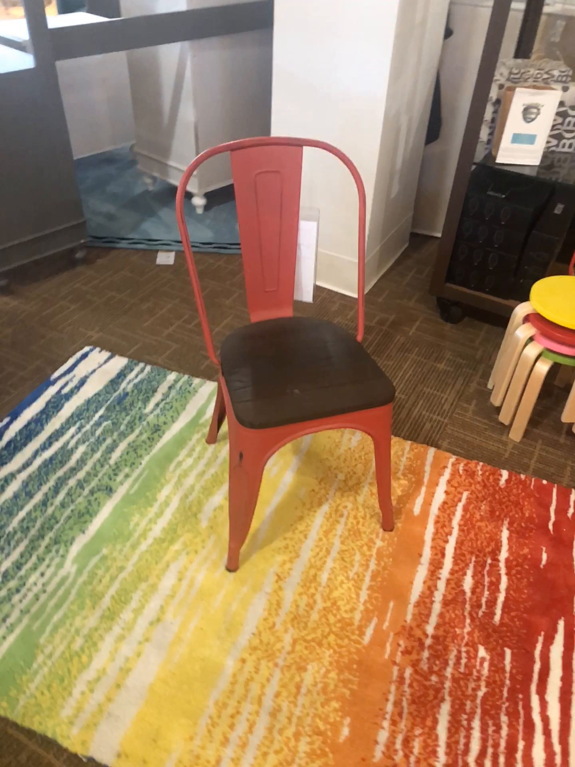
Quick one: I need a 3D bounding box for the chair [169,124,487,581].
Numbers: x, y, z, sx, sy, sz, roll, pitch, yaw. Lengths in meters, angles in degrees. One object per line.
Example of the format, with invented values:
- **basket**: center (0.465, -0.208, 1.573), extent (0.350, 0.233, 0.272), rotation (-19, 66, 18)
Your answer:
- **chair**: center (0.023, -0.062, 1.428), extent (0.451, 0.856, 0.492), rotation (-9, 40, -15)
